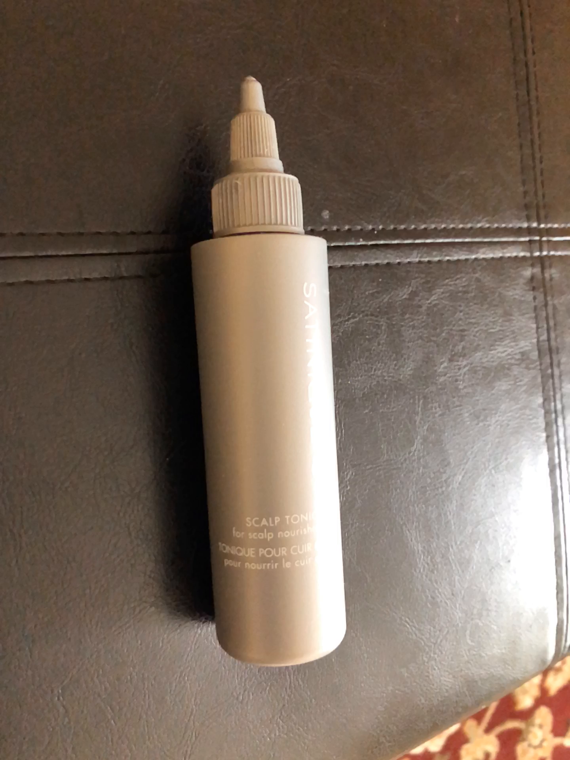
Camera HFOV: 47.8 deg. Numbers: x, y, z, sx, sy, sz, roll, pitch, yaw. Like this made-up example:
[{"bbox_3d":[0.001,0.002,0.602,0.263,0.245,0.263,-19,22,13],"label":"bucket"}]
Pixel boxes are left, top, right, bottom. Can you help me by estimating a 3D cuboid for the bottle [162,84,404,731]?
[{"bbox_3d":[-0.001,0.006,0.165,0.040,0.040,0.140,-6,96,-32],"label":"bottle"}]
